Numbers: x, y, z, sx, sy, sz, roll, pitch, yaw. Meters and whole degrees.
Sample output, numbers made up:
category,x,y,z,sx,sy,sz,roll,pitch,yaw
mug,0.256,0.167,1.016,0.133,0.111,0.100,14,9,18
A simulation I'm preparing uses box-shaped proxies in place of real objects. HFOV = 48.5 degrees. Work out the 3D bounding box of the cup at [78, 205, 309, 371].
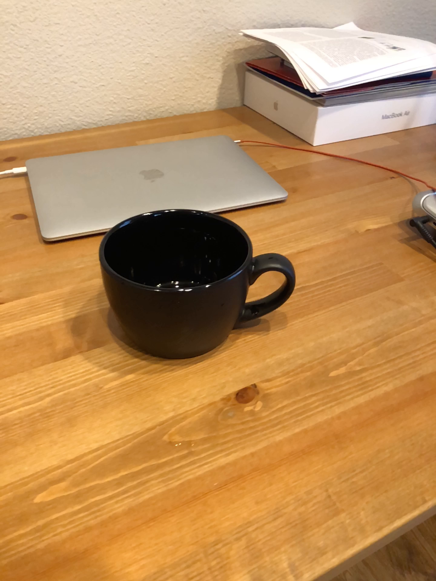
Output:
category,x,y,z,sx,sy,sz,roll,pitch,yaw
cup,-0.016,-0.006,0.408,0.160,0.080,0.121,2,38,1
